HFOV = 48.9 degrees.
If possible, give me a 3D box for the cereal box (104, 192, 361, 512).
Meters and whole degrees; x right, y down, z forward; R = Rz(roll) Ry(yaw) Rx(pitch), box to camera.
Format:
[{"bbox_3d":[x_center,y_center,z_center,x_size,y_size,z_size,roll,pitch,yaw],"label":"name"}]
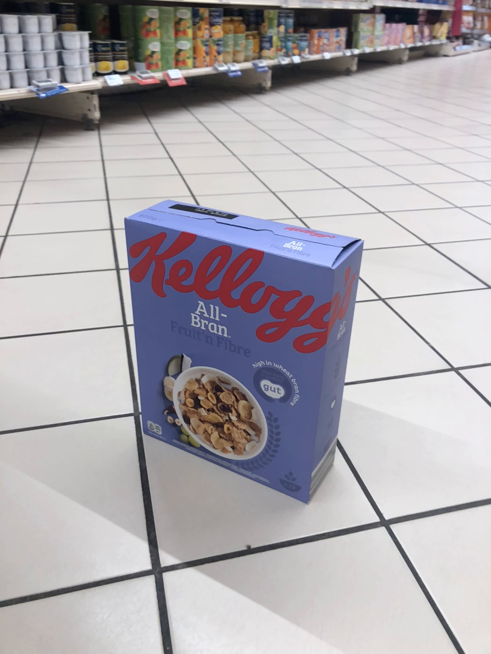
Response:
[{"bbox_3d":[-0.017,0.020,0.493,0.200,0.239,0.070,17,33,25],"label":"cereal box"}]
